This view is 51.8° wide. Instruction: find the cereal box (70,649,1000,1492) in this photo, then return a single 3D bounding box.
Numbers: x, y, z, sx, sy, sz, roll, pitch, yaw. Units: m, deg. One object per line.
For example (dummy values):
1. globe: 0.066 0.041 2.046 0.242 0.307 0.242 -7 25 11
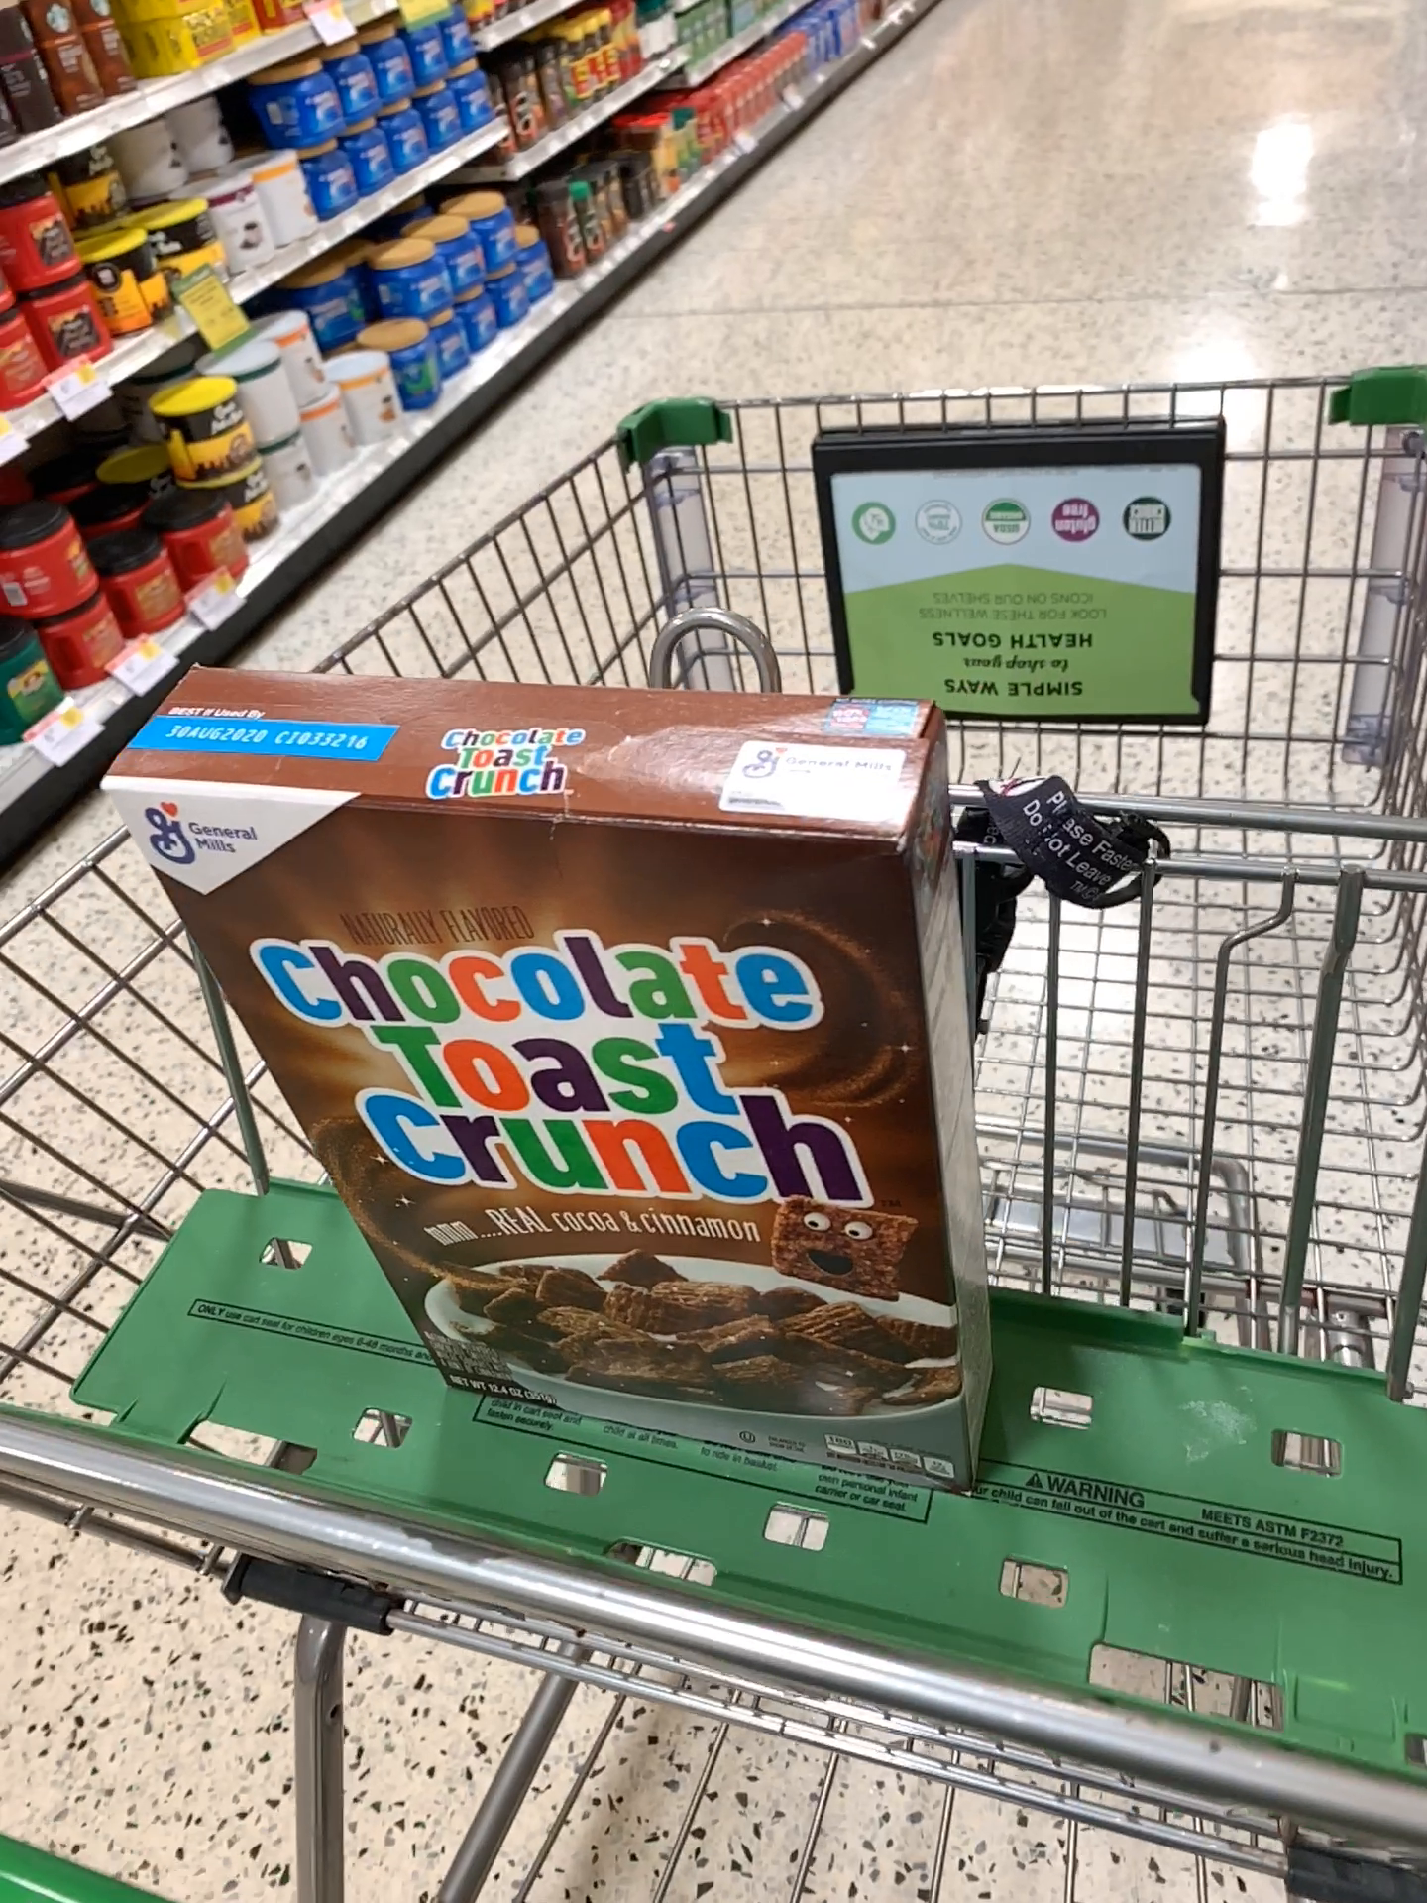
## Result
1. cereal box: -0.027 0.047 0.424 0.200 0.277 0.050 5 46 19
